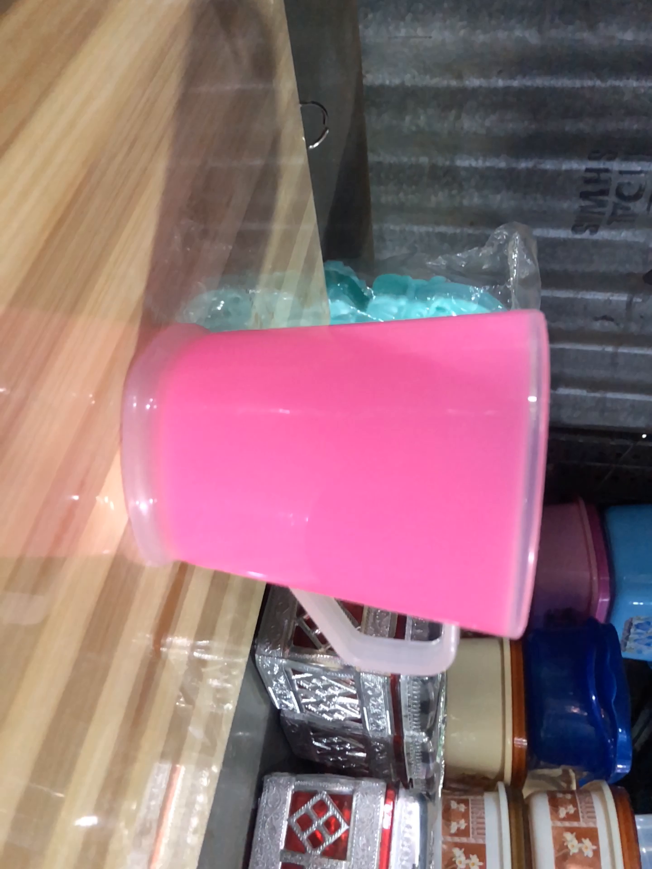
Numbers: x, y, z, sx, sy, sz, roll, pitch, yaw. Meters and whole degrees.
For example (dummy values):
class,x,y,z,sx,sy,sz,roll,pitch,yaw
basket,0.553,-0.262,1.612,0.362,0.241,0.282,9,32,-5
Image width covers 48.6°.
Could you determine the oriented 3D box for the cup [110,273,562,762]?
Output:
class,x,y,z,sx,sy,sz,roll,pitch,yaw
cup,0.008,0.022,0.217,0.070,0.100,0.120,-70,162,-58
